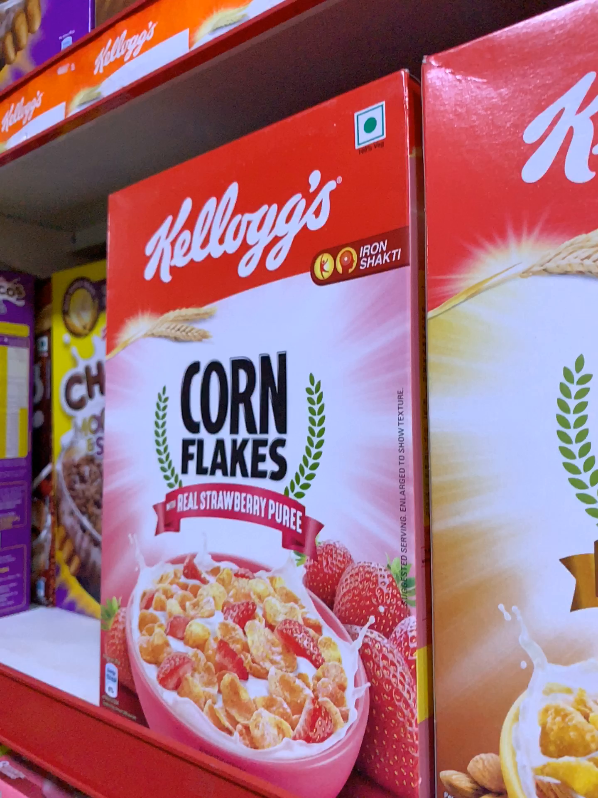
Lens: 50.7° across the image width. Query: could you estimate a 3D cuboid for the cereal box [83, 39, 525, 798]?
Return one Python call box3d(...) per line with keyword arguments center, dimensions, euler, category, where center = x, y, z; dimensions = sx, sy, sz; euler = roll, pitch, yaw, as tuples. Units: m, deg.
box3d(center=(-0.011, 0.011, 0.273), dimensions=(0.190, 0.240, 0.060), euler=(-3, -5, 40), category="cereal box")
